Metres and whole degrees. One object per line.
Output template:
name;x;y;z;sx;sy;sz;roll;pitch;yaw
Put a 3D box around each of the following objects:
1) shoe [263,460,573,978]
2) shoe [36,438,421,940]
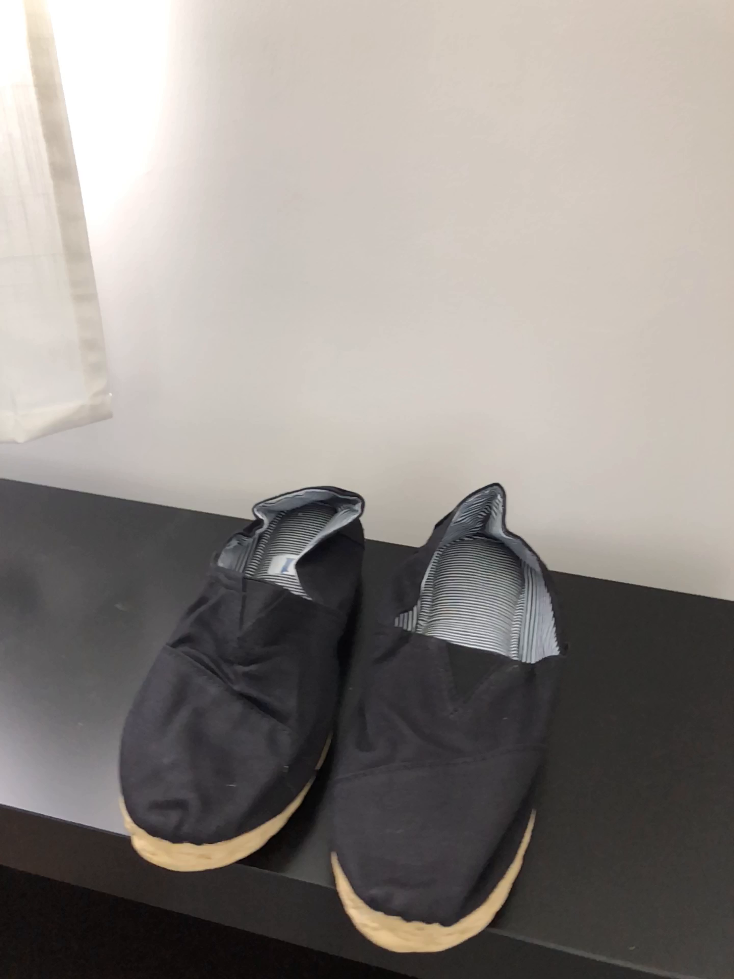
shoe;0.043;0.092;0.410;0.101;0.080;0.275;9;32;10
shoe;-0.048;0.076;0.439;0.101;0.080;0.275;9;32;10
